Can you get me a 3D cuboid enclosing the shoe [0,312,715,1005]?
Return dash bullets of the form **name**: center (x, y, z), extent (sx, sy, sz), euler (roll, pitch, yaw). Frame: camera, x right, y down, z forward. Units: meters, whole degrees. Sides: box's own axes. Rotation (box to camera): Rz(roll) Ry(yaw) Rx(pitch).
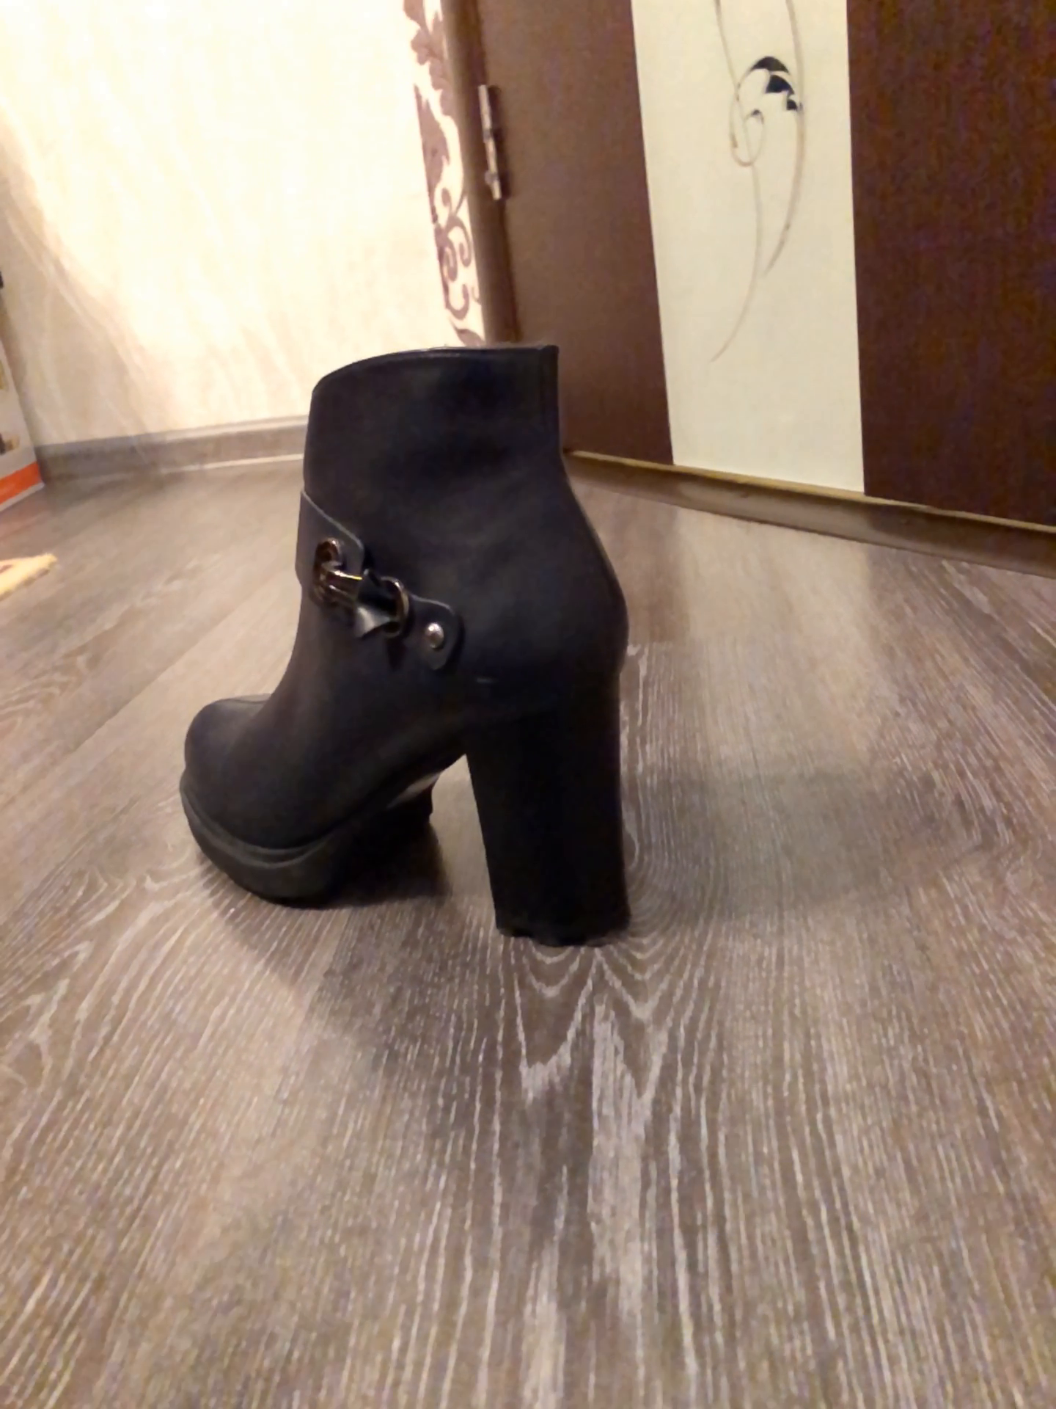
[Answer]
- **shoe**: center (-0.067, -0.030, 0.429), extent (0.230, 0.189, 0.110), euler (8, 25, 36)
